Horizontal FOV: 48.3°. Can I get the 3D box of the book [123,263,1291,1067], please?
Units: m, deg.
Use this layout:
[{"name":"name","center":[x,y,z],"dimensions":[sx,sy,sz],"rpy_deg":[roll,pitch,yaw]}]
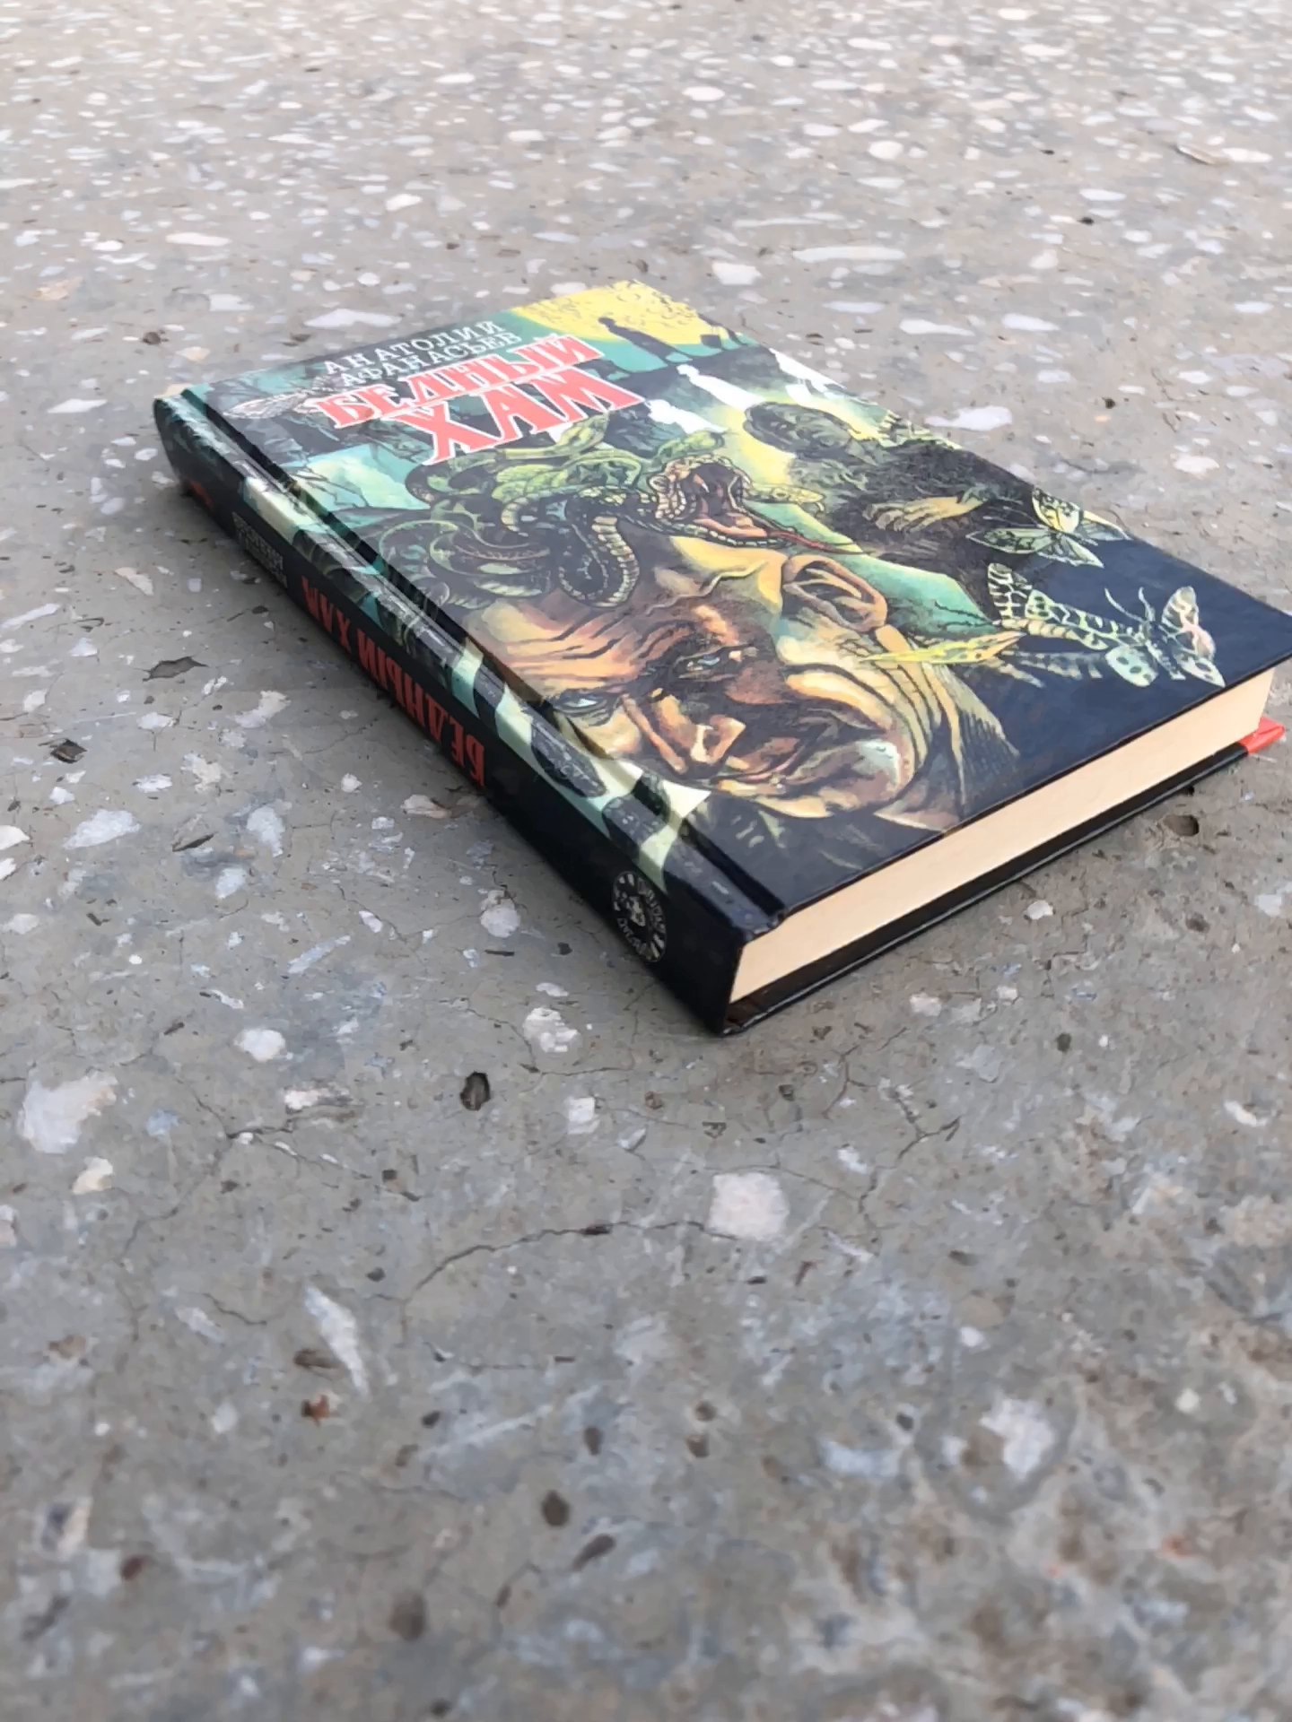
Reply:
[{"name":"book","center":[0.005,-0.062,0.283],"dimensions":[0.142,0.020,0.202],"rpy_deg":[-25,49,-26]}]
